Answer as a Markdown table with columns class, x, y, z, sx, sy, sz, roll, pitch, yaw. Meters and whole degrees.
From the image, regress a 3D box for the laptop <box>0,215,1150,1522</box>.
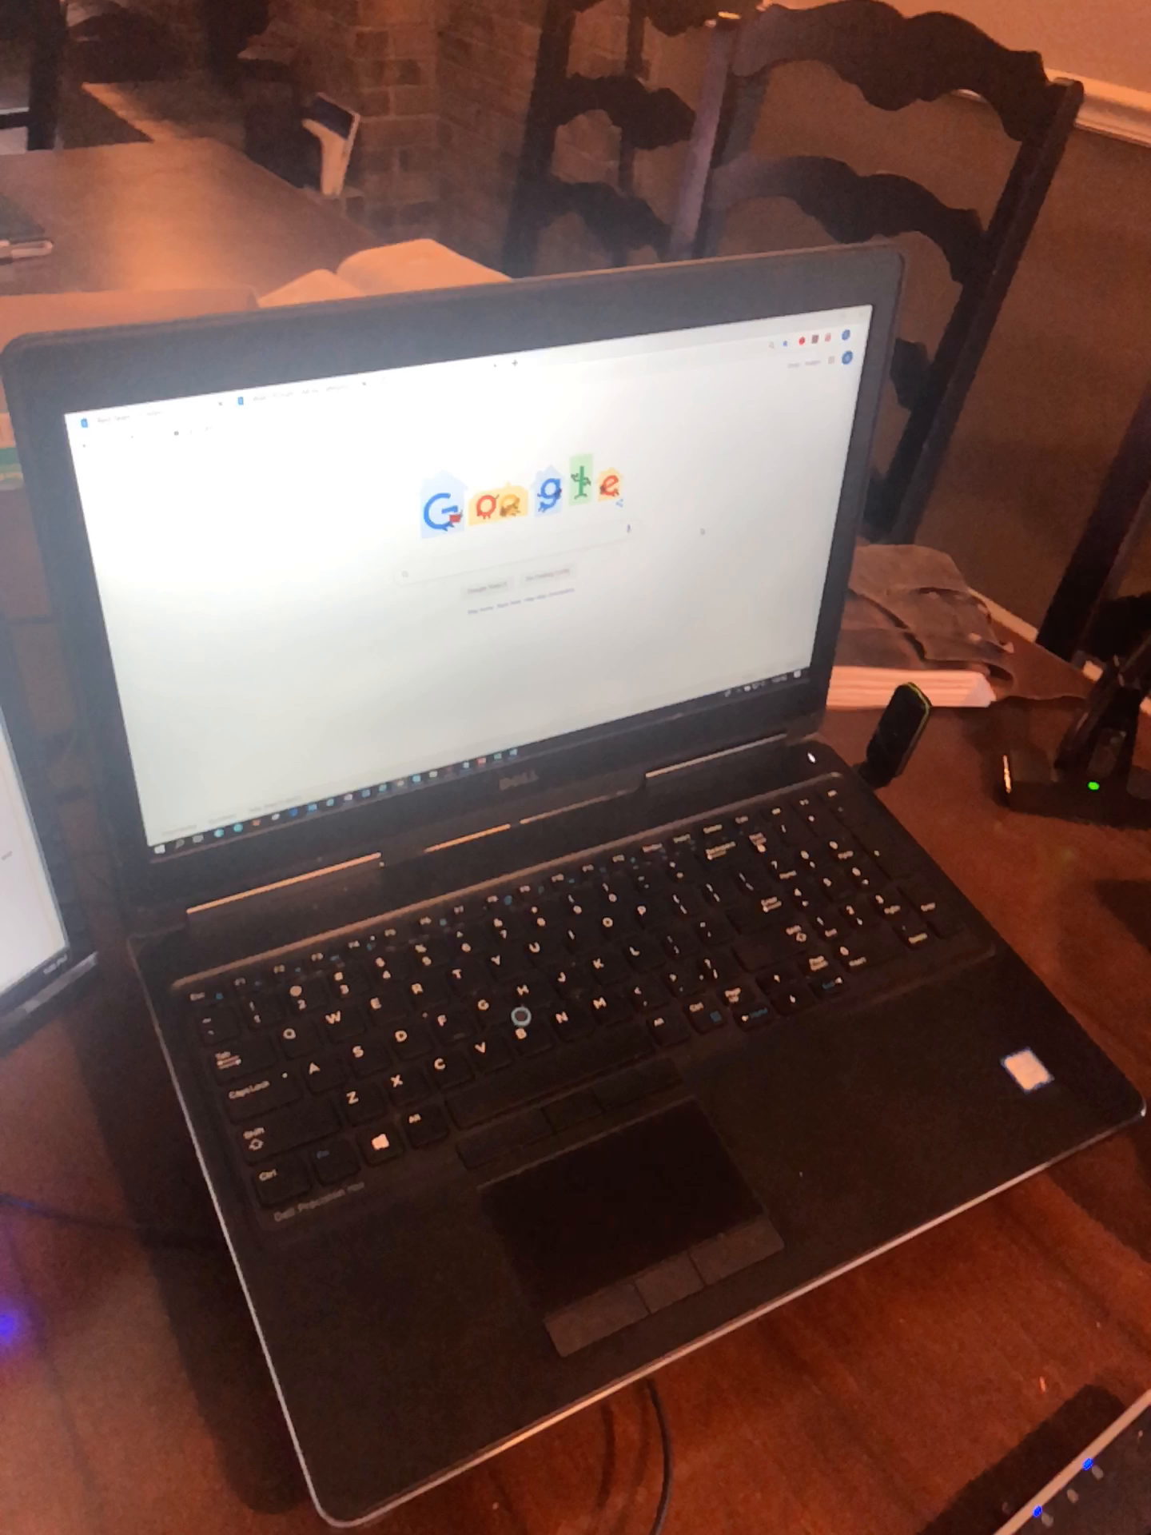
| class | x | y | z | sx | sy | sz | roll | pitch | yaw |
| --- | --- | --- | --- | --- | --- | --- | --- | --- | --- |
| laptop | 0.029 | -0.007 | 0.481 | 0.367 | 0.258 | 0.287 | -16 | 45 | -25 |
